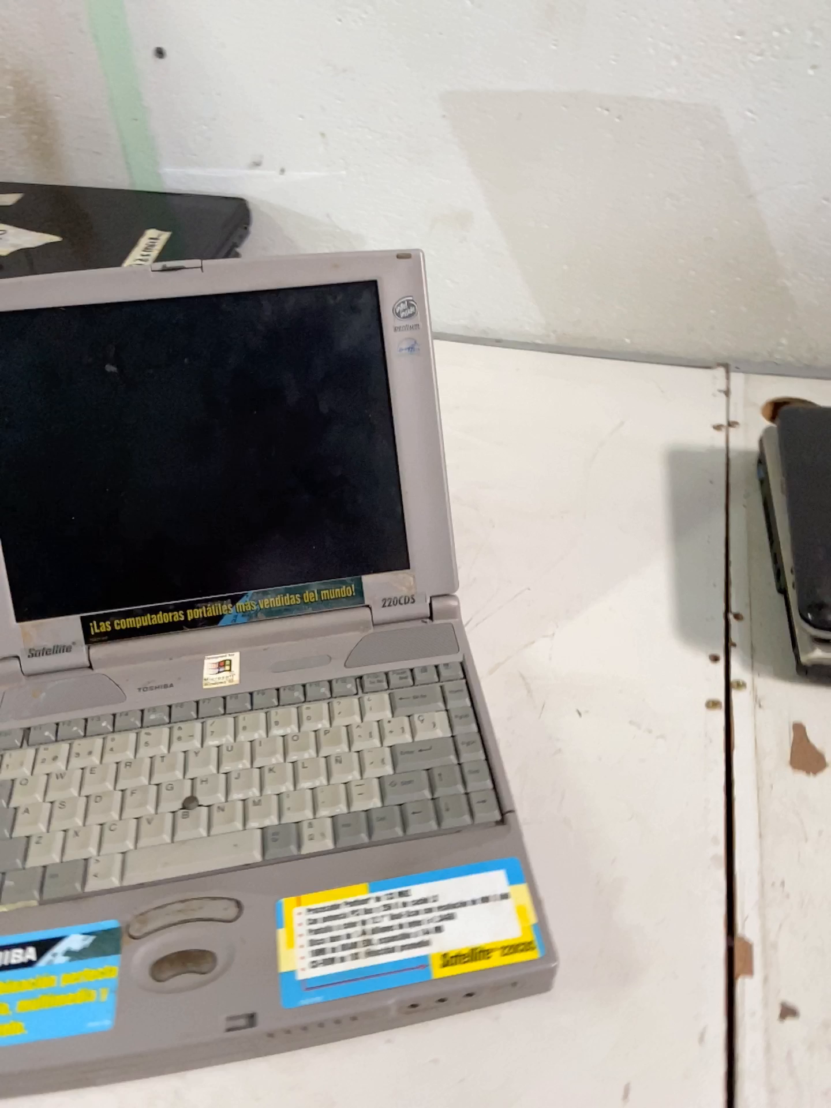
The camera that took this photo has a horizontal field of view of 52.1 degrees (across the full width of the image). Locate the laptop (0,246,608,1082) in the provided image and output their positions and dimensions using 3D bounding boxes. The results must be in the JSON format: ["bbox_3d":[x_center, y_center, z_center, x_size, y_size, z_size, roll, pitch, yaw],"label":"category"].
[{"bbox_3d":[-0.112,0.021,0.454,0.301,0.195,0.359,-7,44,-5],"label":"laptop"}]
